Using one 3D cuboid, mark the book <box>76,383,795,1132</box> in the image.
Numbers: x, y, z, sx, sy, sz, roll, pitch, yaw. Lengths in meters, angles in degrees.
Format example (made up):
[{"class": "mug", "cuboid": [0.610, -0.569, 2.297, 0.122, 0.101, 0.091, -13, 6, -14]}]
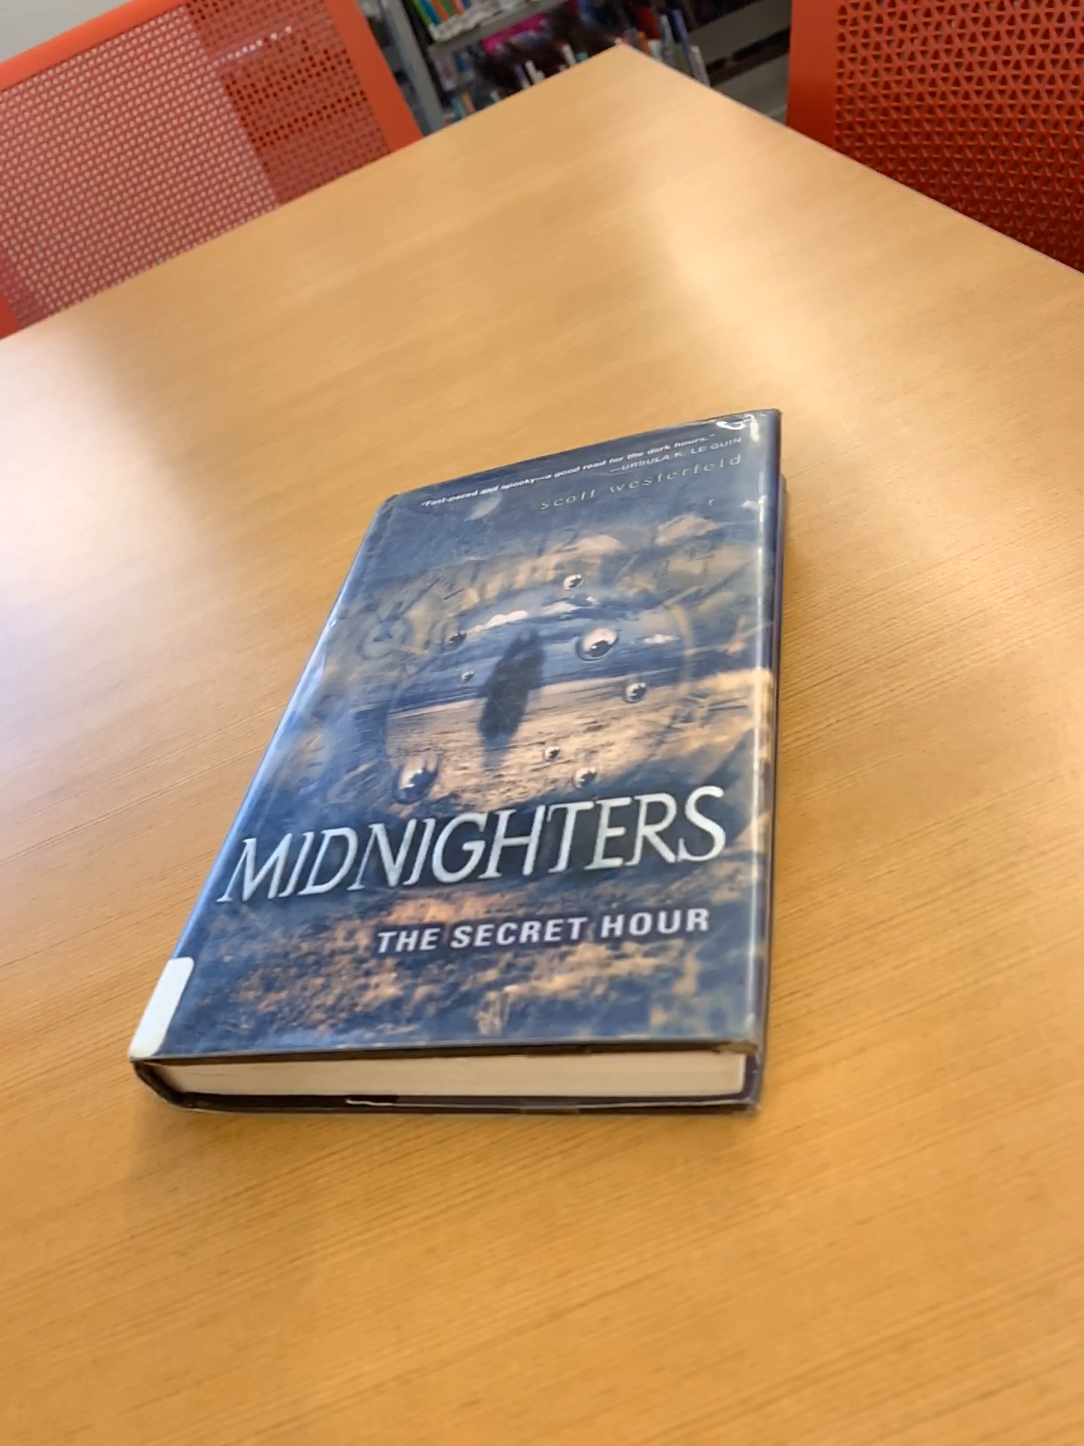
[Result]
[{"class": "book", "cuboid": [-0.011, -0.003, 0.310, 0.151, 0.036, 0.221, -7, 45, 22]}]
